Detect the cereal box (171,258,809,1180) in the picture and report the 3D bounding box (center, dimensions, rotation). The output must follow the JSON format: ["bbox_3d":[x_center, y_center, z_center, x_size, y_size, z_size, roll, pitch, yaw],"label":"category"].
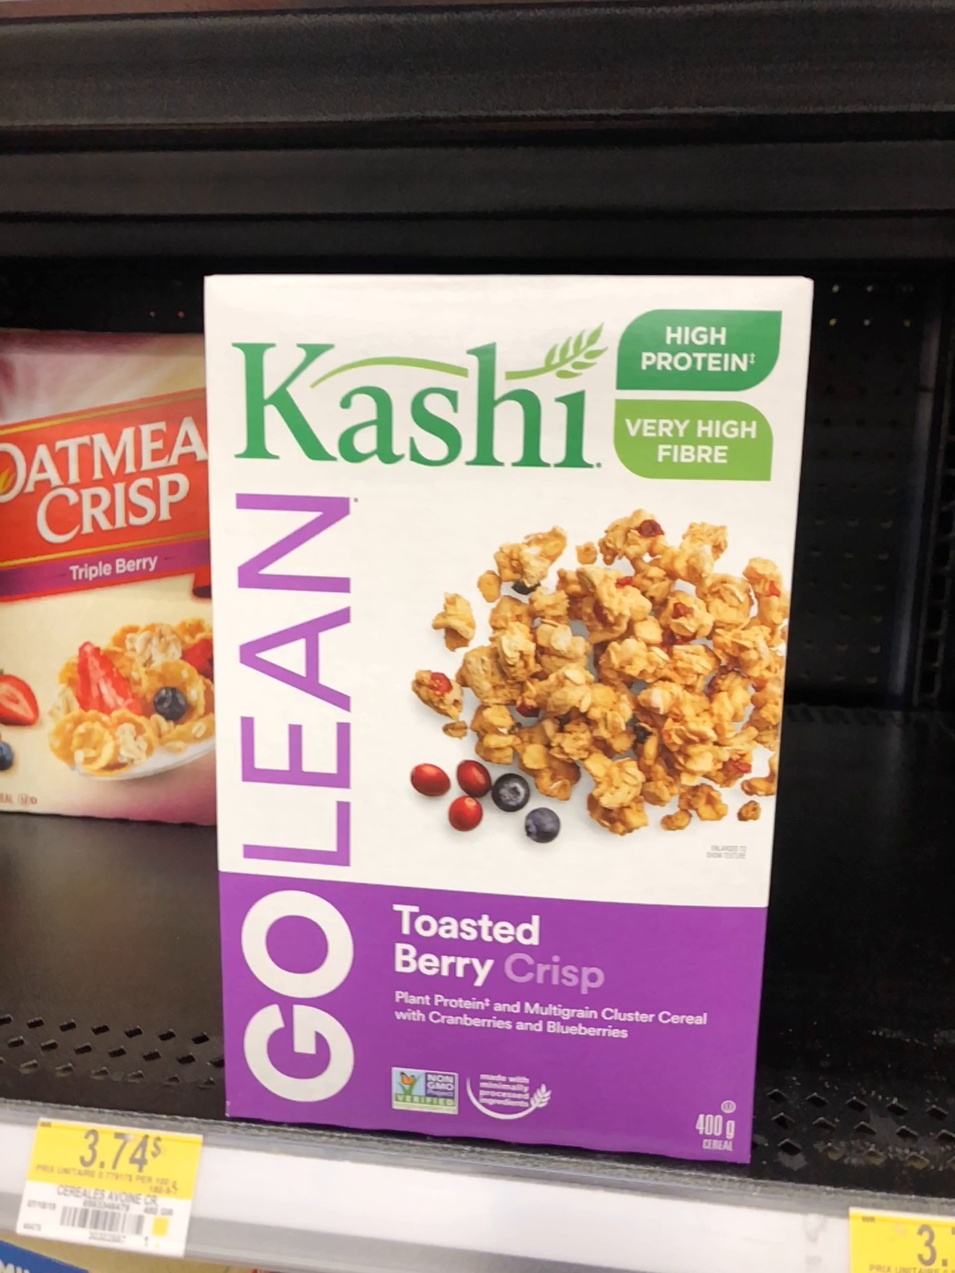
[{"bbox_3d":[0.001,0.027,0.332,0.170,0.269,0.050,2,11,5],"label":"cereal box"}]
